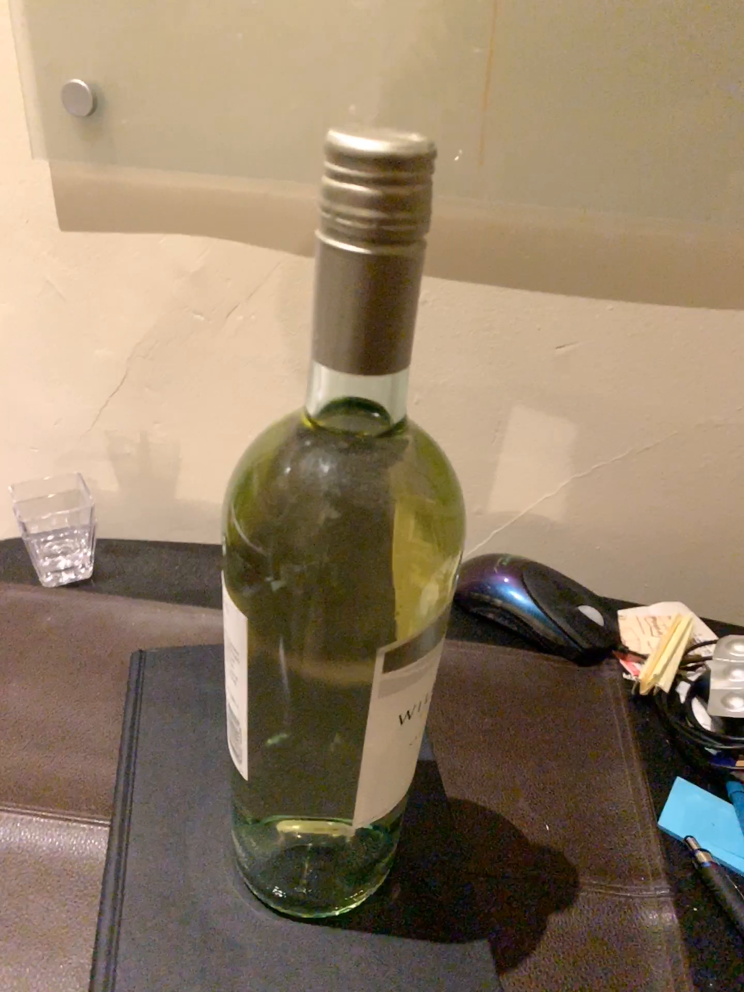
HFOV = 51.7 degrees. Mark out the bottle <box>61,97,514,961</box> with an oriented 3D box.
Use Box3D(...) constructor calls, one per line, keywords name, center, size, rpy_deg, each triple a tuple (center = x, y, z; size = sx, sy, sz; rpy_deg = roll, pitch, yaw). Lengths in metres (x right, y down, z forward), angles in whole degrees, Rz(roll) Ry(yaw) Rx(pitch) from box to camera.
Box3D(name="bottle", center=(-0.025, 0.035, 0.270), size=(0.090, 0.298, 0.091), rpy_deg=(3, 32, -2))
